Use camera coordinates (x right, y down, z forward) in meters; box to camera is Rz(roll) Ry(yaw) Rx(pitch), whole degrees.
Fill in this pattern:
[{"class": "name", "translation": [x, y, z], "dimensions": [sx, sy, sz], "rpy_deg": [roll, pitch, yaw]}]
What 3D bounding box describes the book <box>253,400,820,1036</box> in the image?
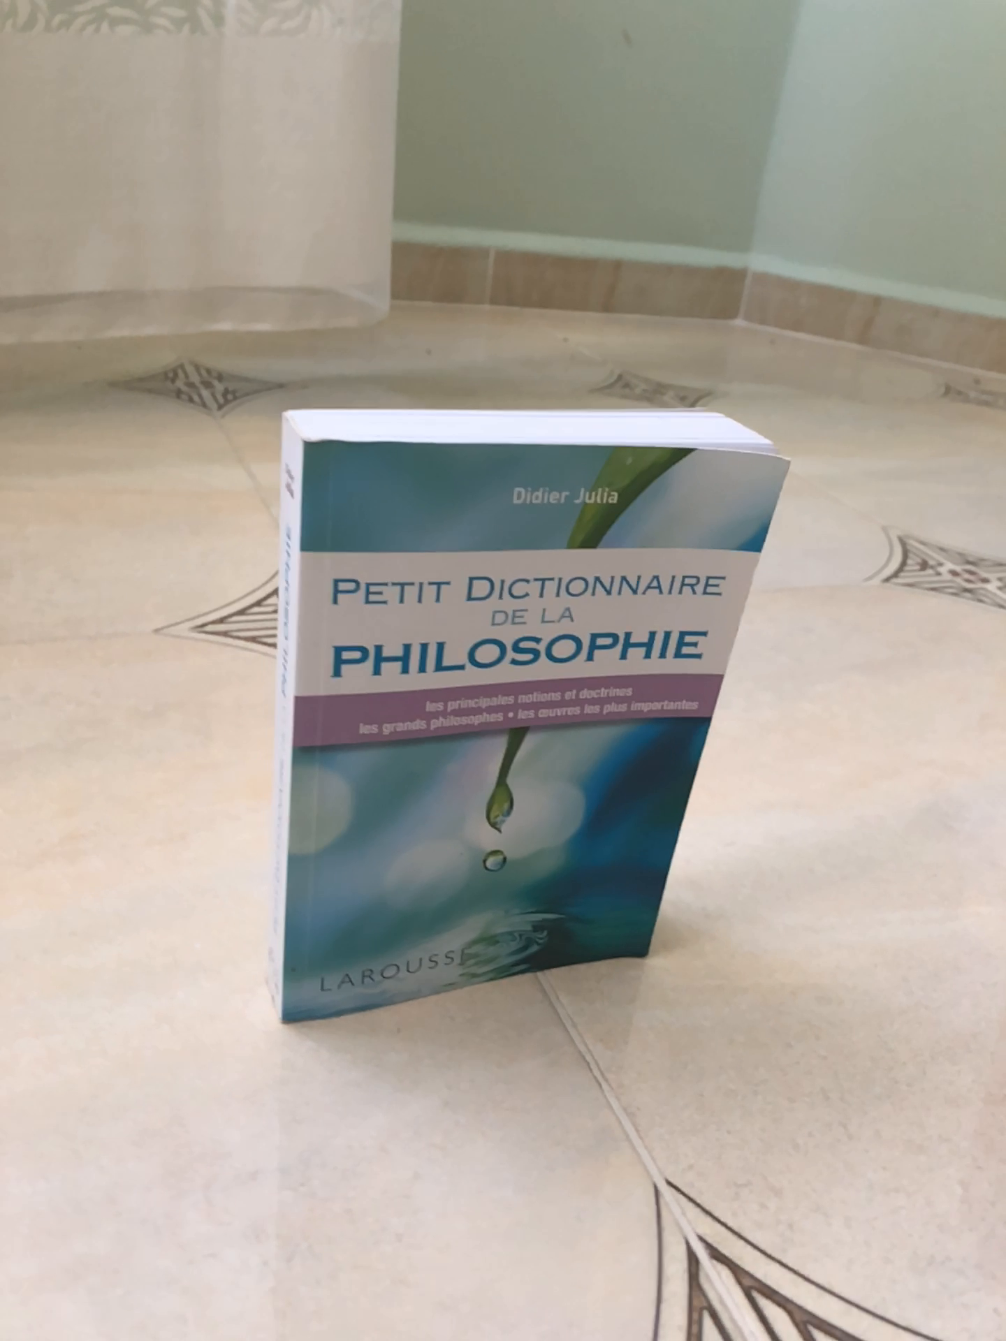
[{"class": "book", "translation": [0.001, 0.017, 0.330], "dimensions": [0.140, 0.185, 0.035], "rpy_deg": [-5, 32, -21]}]
